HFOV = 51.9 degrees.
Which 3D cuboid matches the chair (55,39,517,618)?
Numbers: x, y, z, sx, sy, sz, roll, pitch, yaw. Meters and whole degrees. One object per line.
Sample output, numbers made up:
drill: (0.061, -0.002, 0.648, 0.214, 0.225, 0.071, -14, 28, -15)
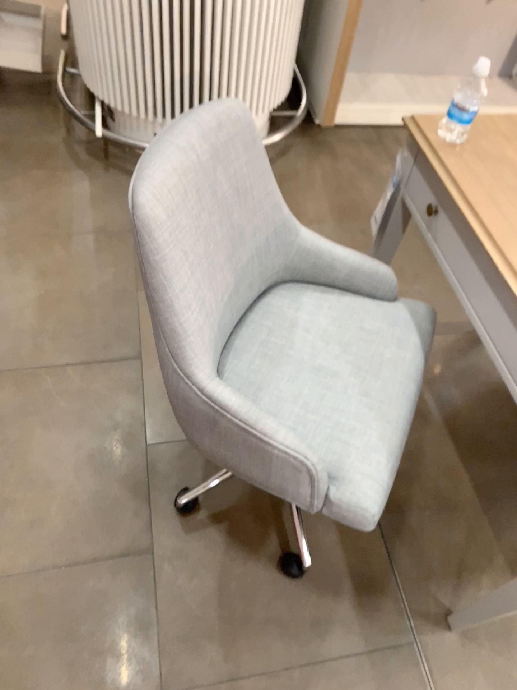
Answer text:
chair: (0.120, 0.021, 1.134, 0.636, 0.892, 0.629, 24, 53, 11)
